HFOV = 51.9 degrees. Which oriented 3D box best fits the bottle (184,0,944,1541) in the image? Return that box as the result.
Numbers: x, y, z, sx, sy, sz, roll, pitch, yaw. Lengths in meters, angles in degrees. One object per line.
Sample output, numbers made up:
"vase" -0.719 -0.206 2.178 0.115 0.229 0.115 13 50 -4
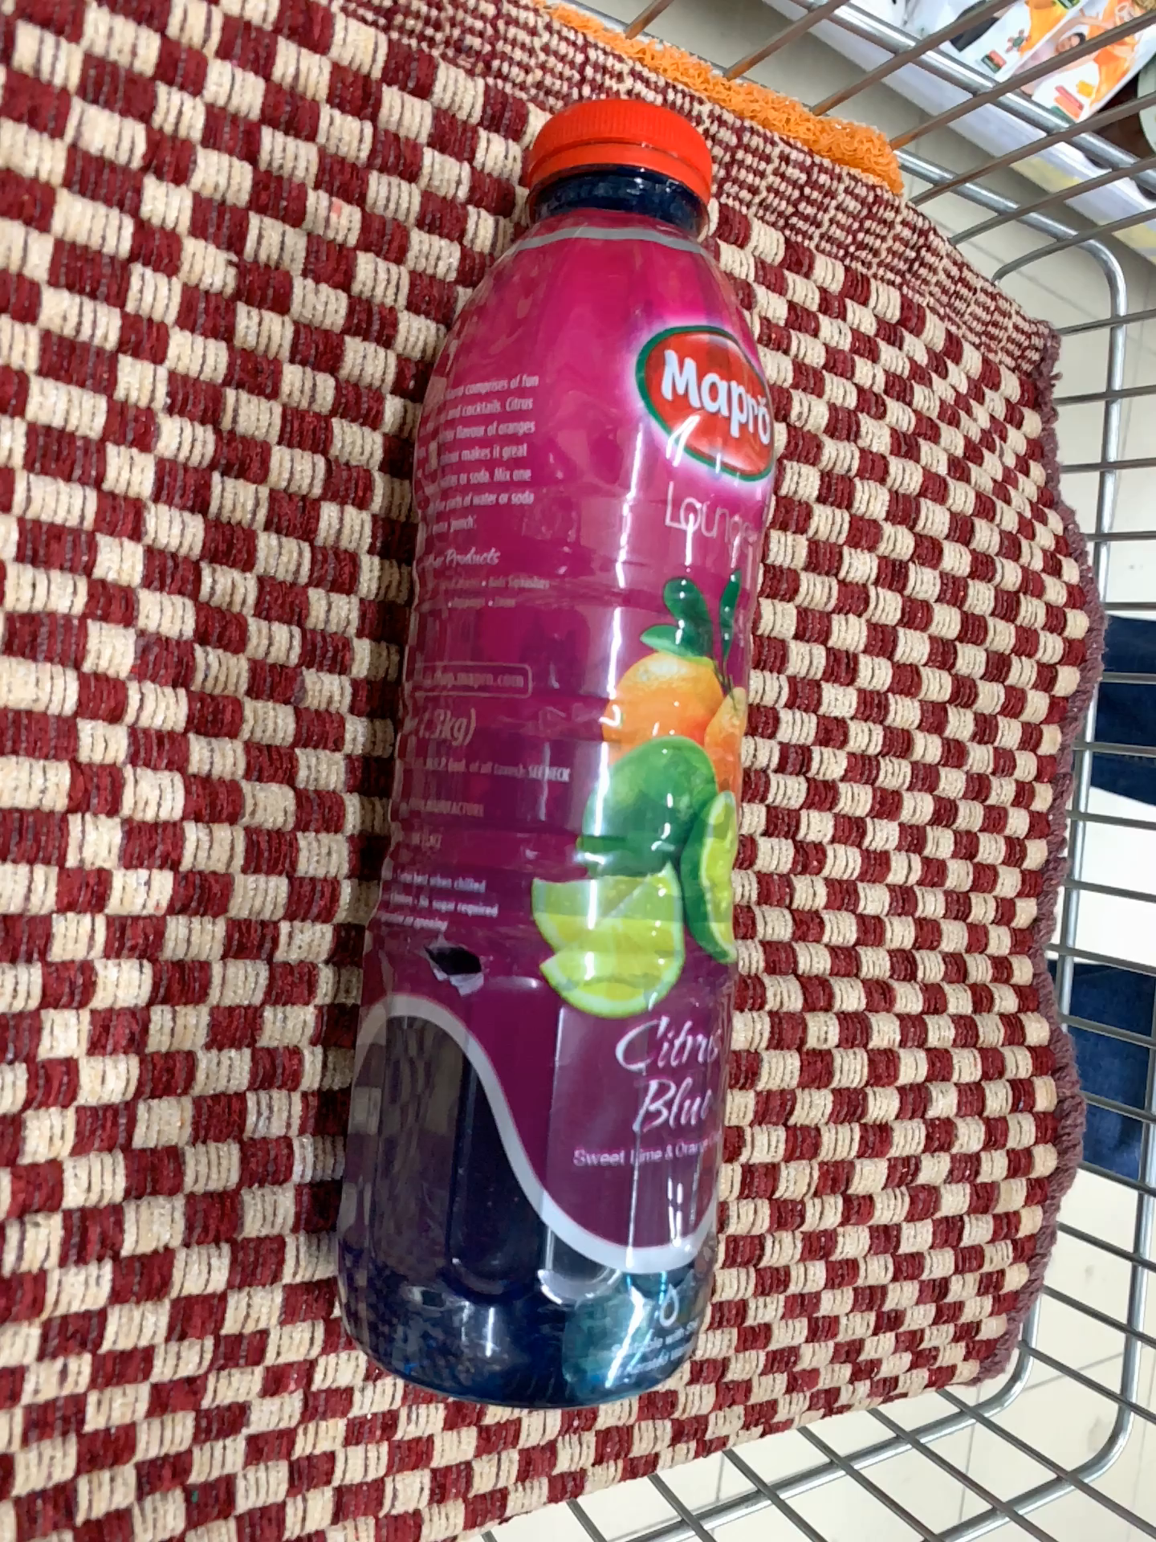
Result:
"bottle" -0.002 -0.003 0.238 0.090 0.070 0.250 8 92 -44
